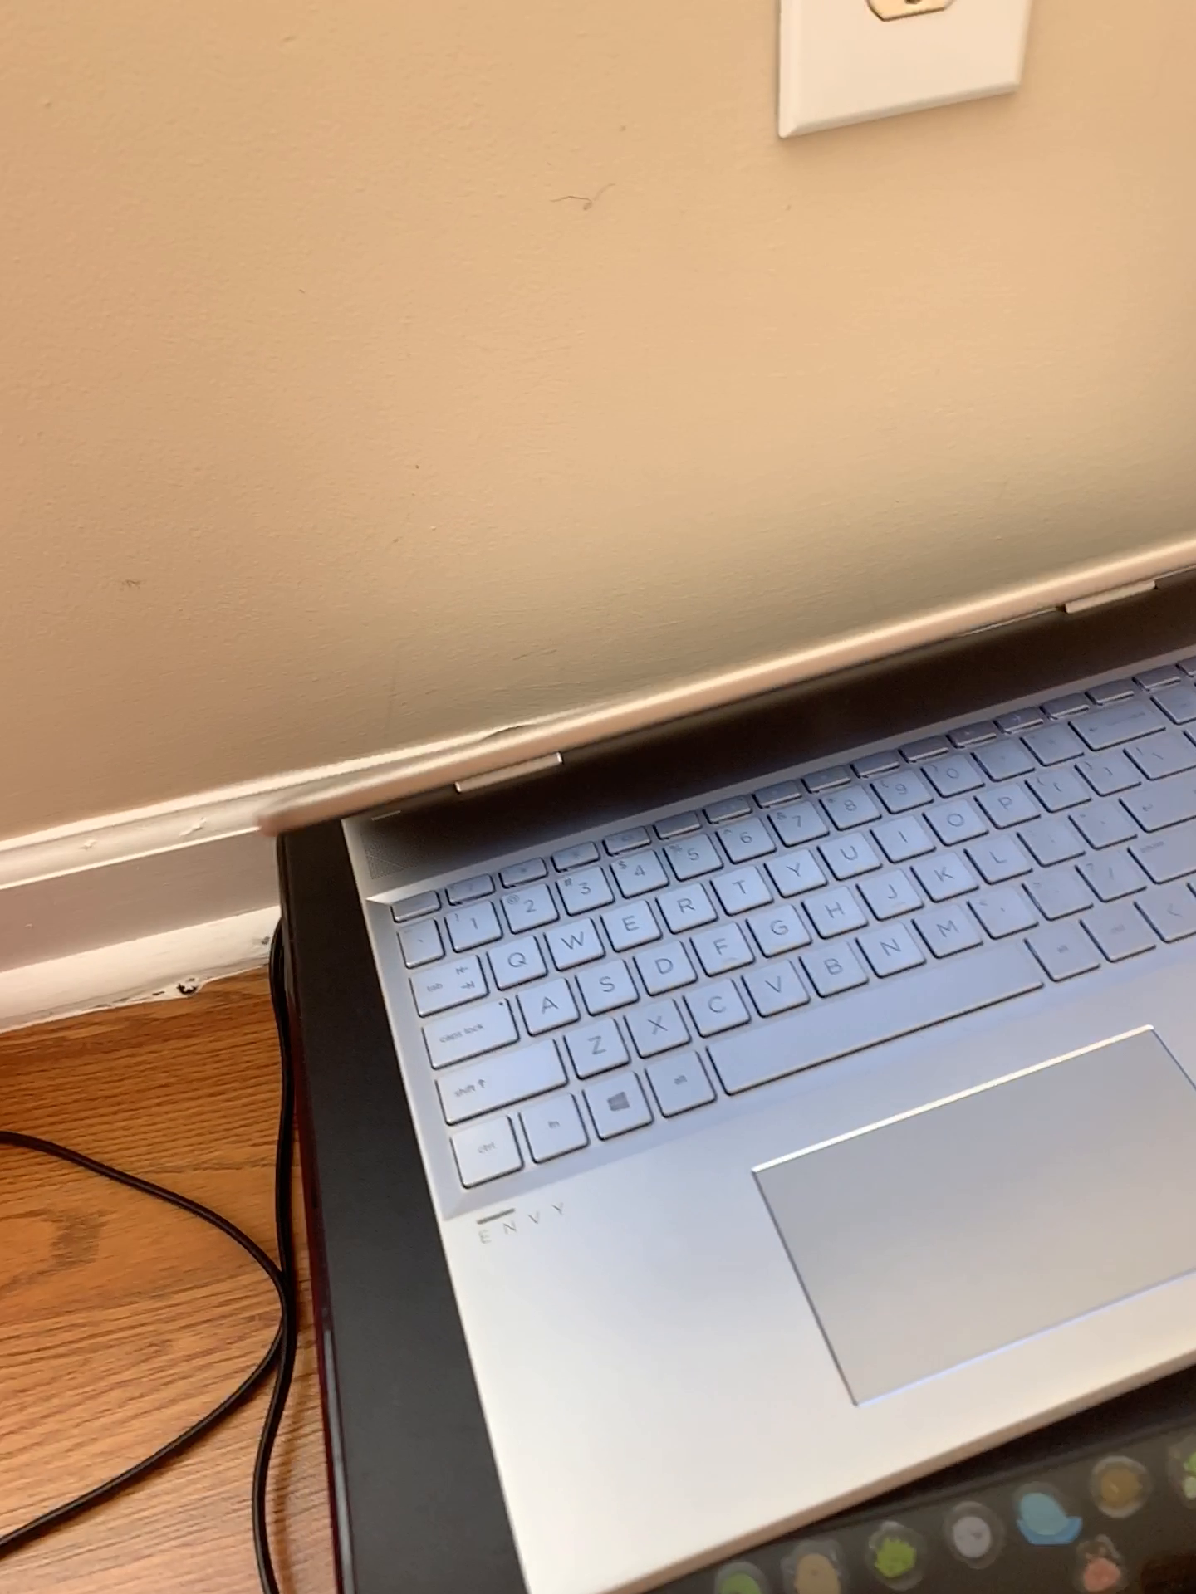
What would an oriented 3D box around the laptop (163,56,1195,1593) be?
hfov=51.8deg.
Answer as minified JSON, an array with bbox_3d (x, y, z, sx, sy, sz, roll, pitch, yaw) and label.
[{"bbox_3d":[0.109,-0.018,0.297,0.350,0.169,0.238,-17,48,-9],"label":"laptop"}]
